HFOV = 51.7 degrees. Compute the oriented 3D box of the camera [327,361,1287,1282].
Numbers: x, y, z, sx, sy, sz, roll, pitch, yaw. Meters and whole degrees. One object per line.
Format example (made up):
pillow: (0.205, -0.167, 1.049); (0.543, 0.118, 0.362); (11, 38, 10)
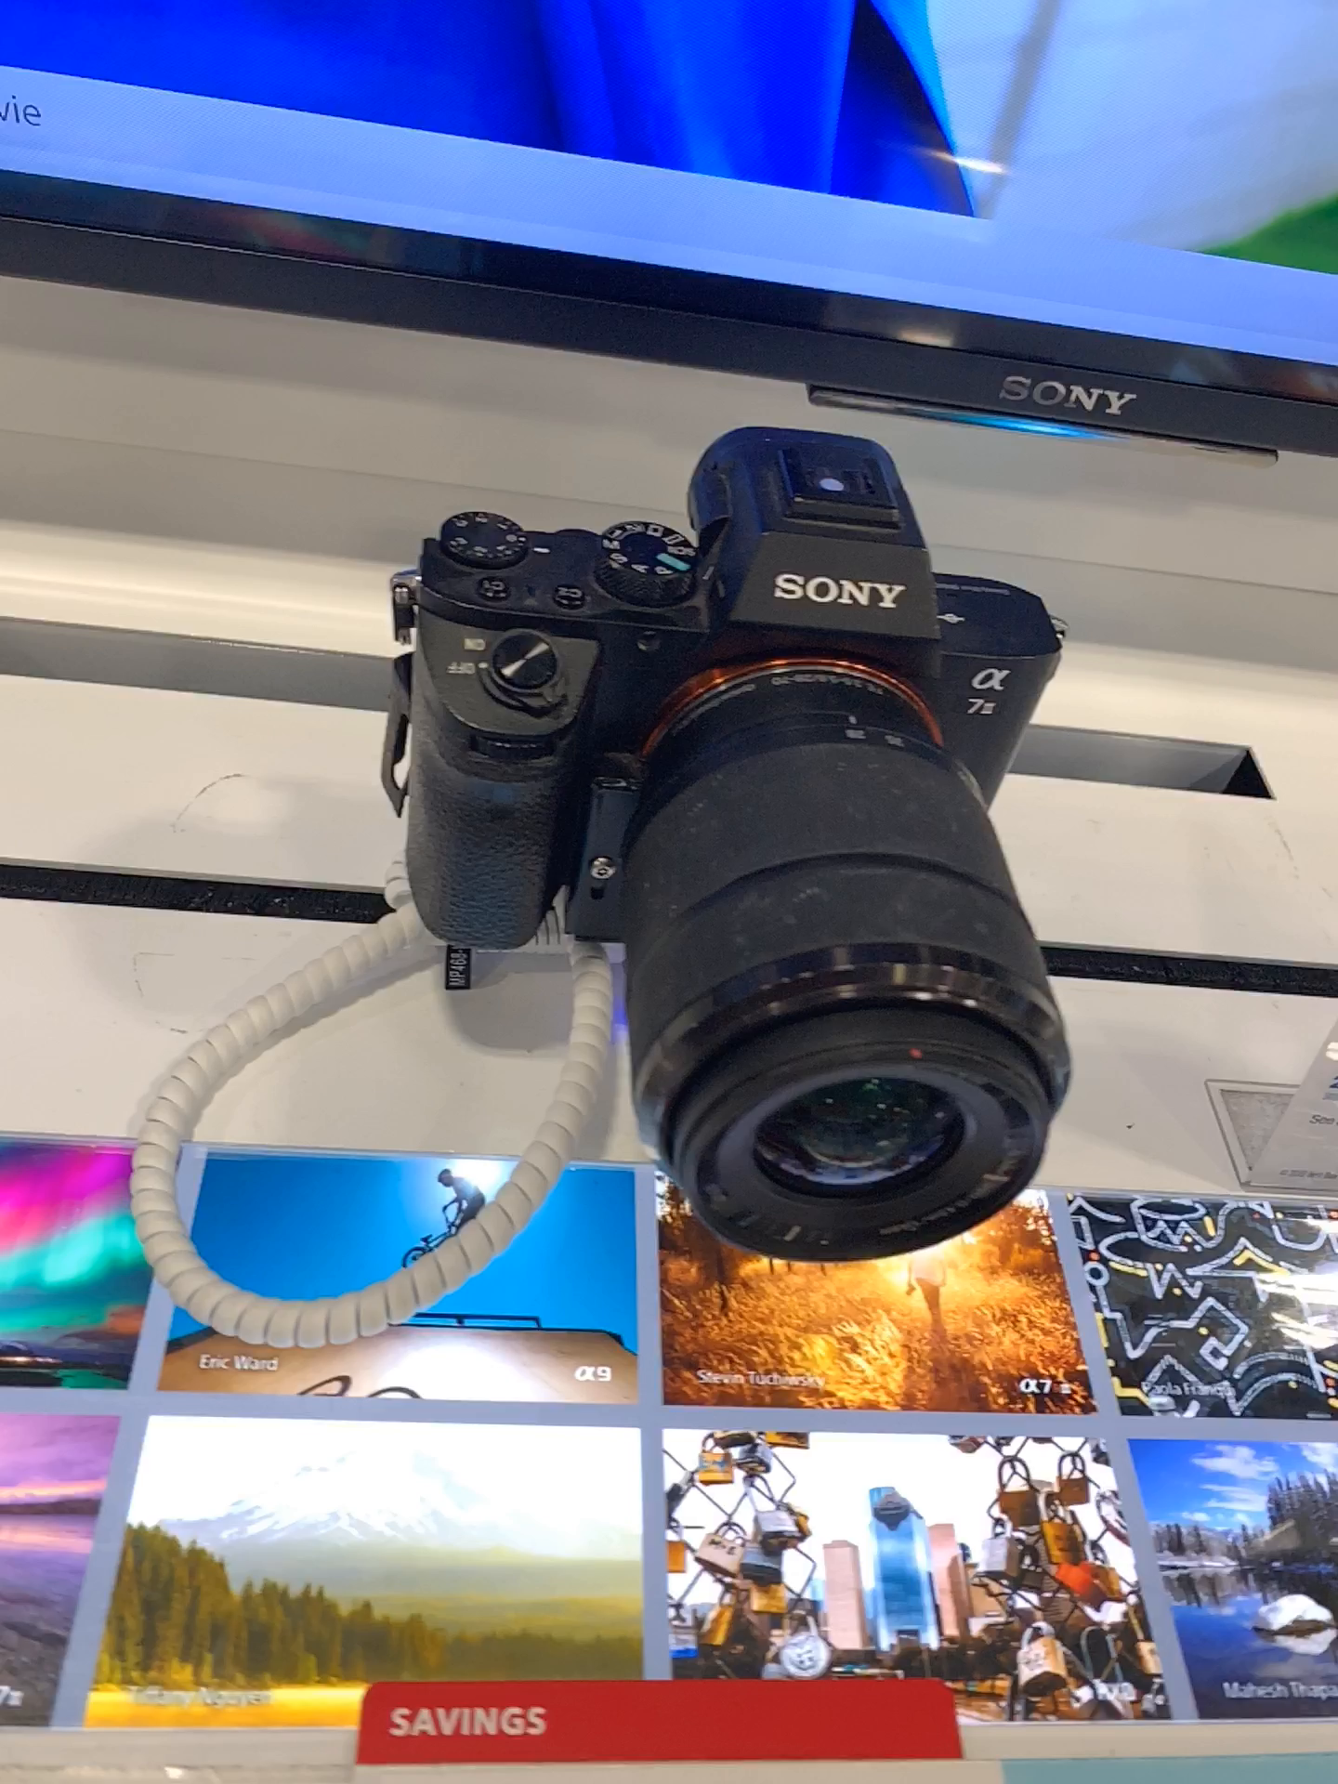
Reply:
camera: (0.012, -0.017, 0.261); (0.128, 0.084, 0.151); (4, 47, -8)
